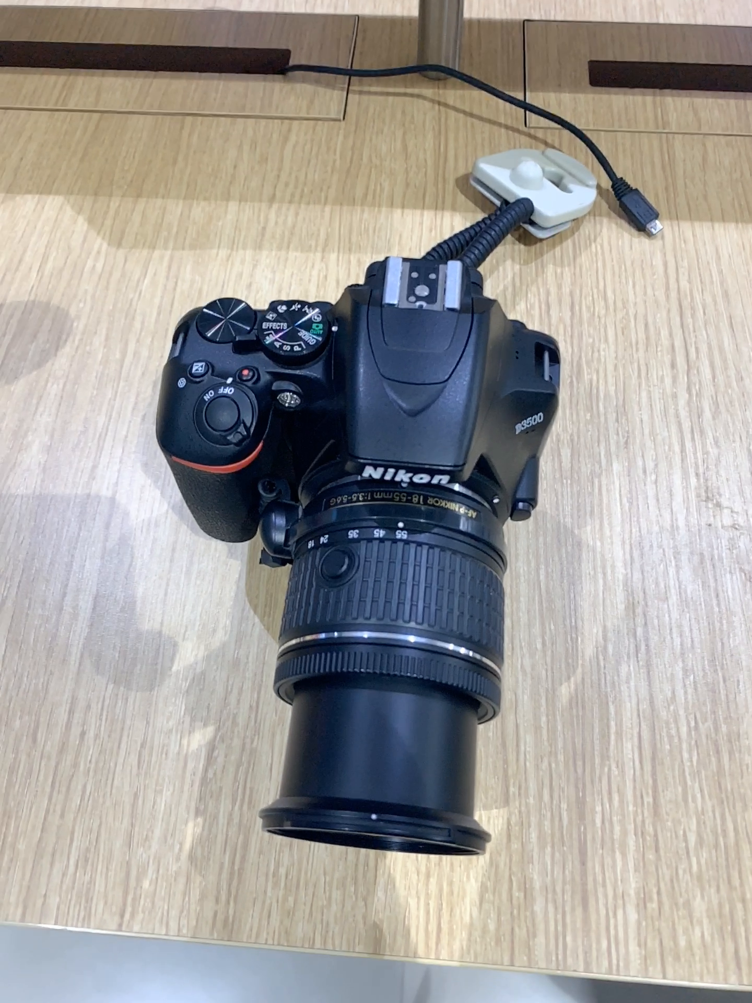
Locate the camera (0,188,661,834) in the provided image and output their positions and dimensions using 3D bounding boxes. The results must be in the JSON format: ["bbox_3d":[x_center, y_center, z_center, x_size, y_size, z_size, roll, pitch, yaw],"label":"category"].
[{"bbox_3d":[-0.006,0.007,0.205,0.115,0.100,0.136,2,63,2],"label":"camera"}]
